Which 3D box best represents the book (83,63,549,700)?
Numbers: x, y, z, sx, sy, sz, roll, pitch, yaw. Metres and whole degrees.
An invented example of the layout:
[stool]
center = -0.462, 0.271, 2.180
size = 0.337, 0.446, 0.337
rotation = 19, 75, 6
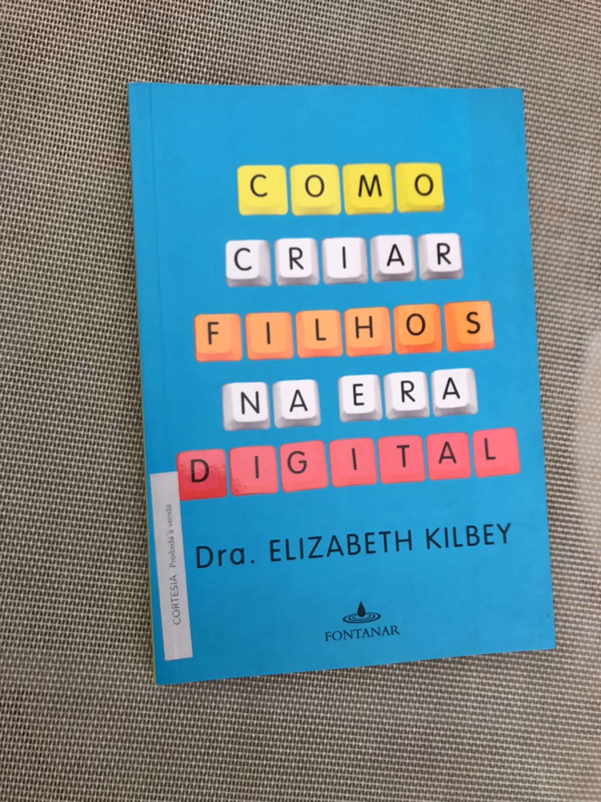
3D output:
[book]
center = 0.007, -0.013, 0.262
size = 0.163, 0.020, 0.228
rotation = -3, 88, -8
